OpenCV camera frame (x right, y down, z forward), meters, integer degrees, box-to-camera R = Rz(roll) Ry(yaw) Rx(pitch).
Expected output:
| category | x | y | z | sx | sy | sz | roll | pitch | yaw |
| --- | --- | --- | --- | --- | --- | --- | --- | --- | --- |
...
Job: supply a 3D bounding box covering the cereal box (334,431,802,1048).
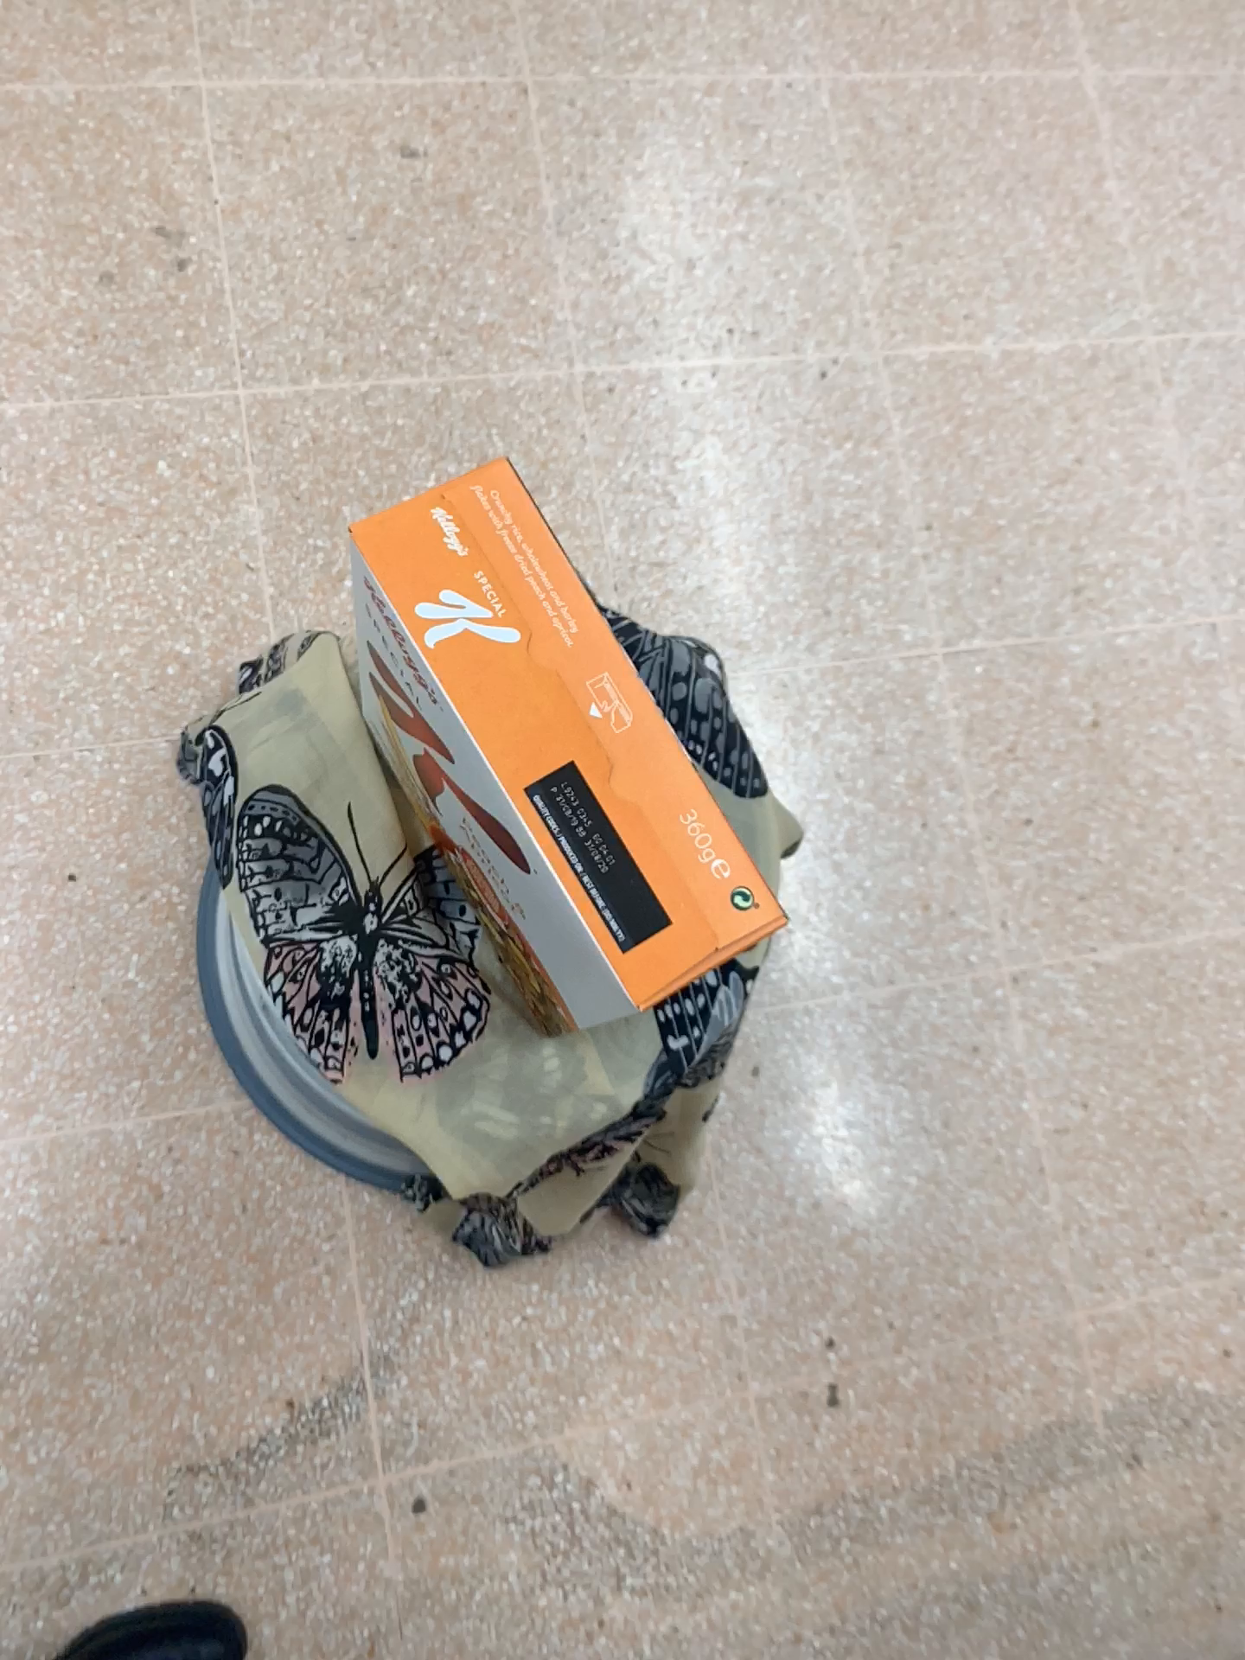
| category | x | y | z | sx | sy | sz | roll | pitch | yaw |
| --- | --- | --- | --- | --- | --- | --- | --- | --- | --- |
| cereal box | -0.041 | -0.012 | 0.563 | 0.060 | 0.270 | 0.210 | -30 | 86 | -13 |
